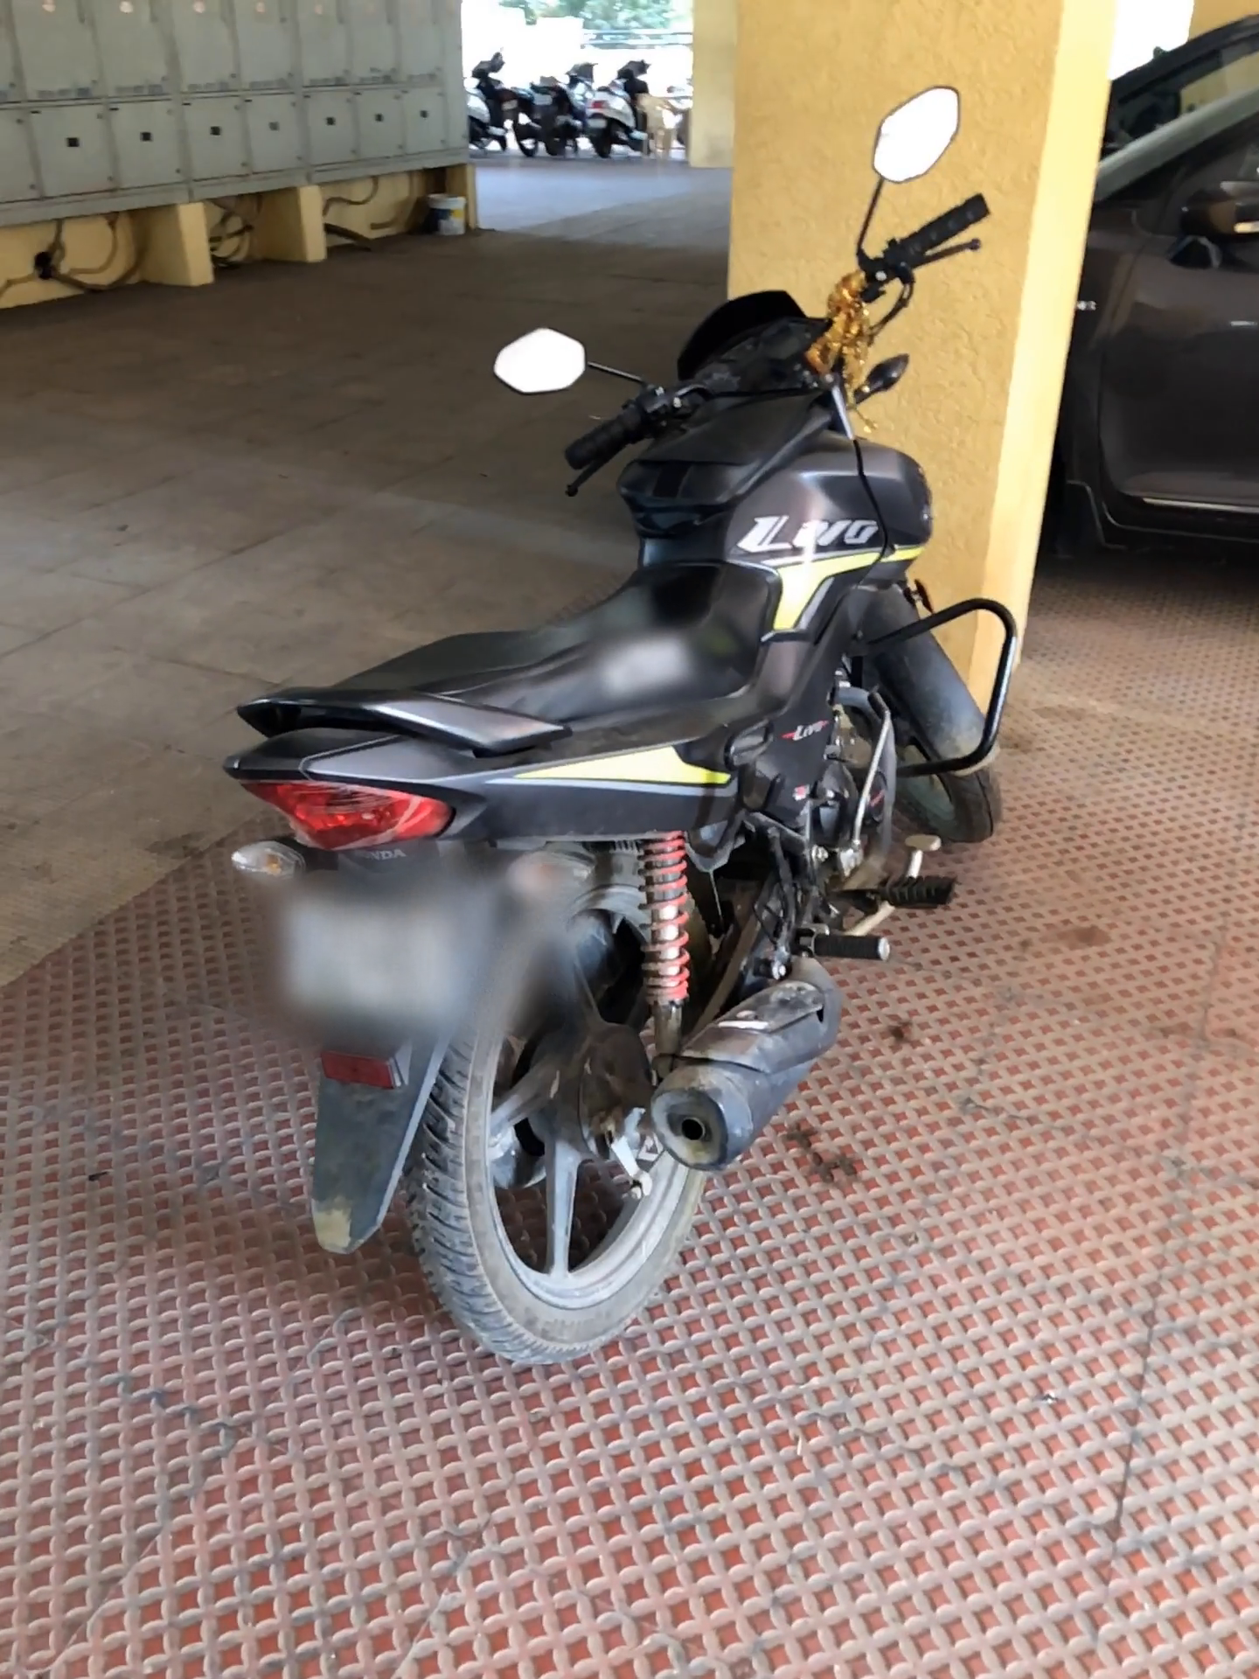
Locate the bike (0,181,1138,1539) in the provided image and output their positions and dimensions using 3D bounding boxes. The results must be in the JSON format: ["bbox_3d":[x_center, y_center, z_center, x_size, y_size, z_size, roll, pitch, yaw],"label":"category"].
[{"bbox_3d":[0.083,-0.212,1.858,0.717,1.088,1.627,14,33,23],"label":"bike"}]
